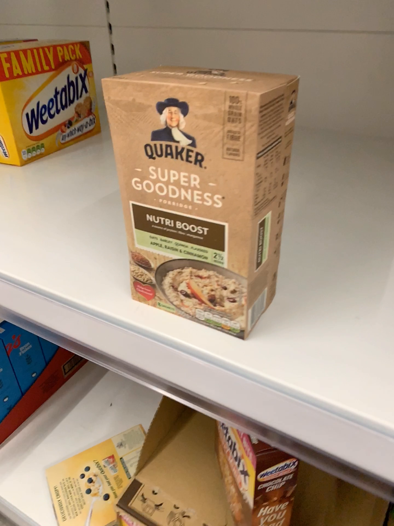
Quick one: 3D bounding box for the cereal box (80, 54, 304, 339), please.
[{"bbox_3d":[-0.003,-0.056,0.336,0.140,0.198,0.071,17,37,25],"label":"cereal box"}]
